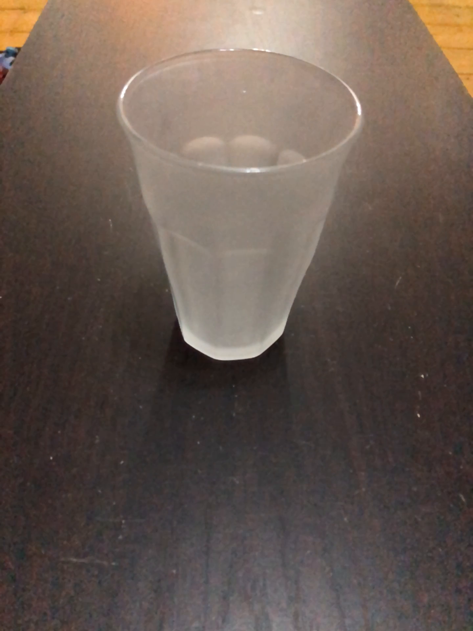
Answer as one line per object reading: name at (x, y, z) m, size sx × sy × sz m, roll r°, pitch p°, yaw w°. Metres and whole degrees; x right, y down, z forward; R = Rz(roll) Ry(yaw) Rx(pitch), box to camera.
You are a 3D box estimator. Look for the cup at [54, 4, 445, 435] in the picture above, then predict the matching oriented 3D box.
cup at (0.003, -0.040, 0.228) m, size 0.090 × 0.129 × 0.100 m, roll 38°, pitch 57°, yaw 26°
